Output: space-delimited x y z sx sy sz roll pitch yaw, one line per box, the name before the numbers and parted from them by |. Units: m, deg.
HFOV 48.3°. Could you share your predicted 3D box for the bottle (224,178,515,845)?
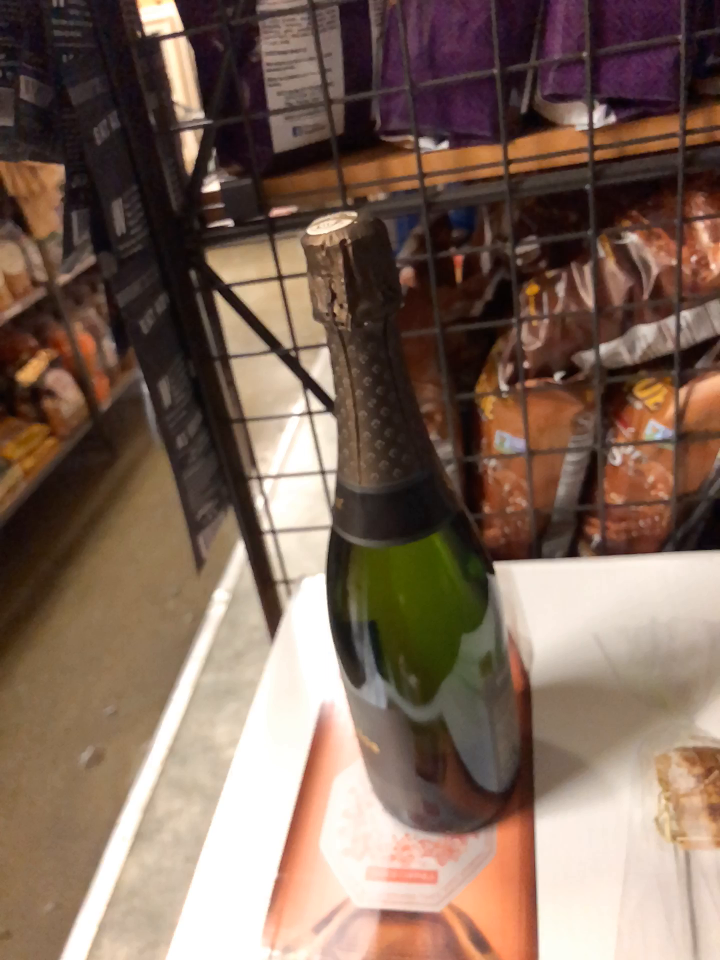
bottle | 0.012 0.030 0.407 0.084 0.325 0.090 -8 28 4
